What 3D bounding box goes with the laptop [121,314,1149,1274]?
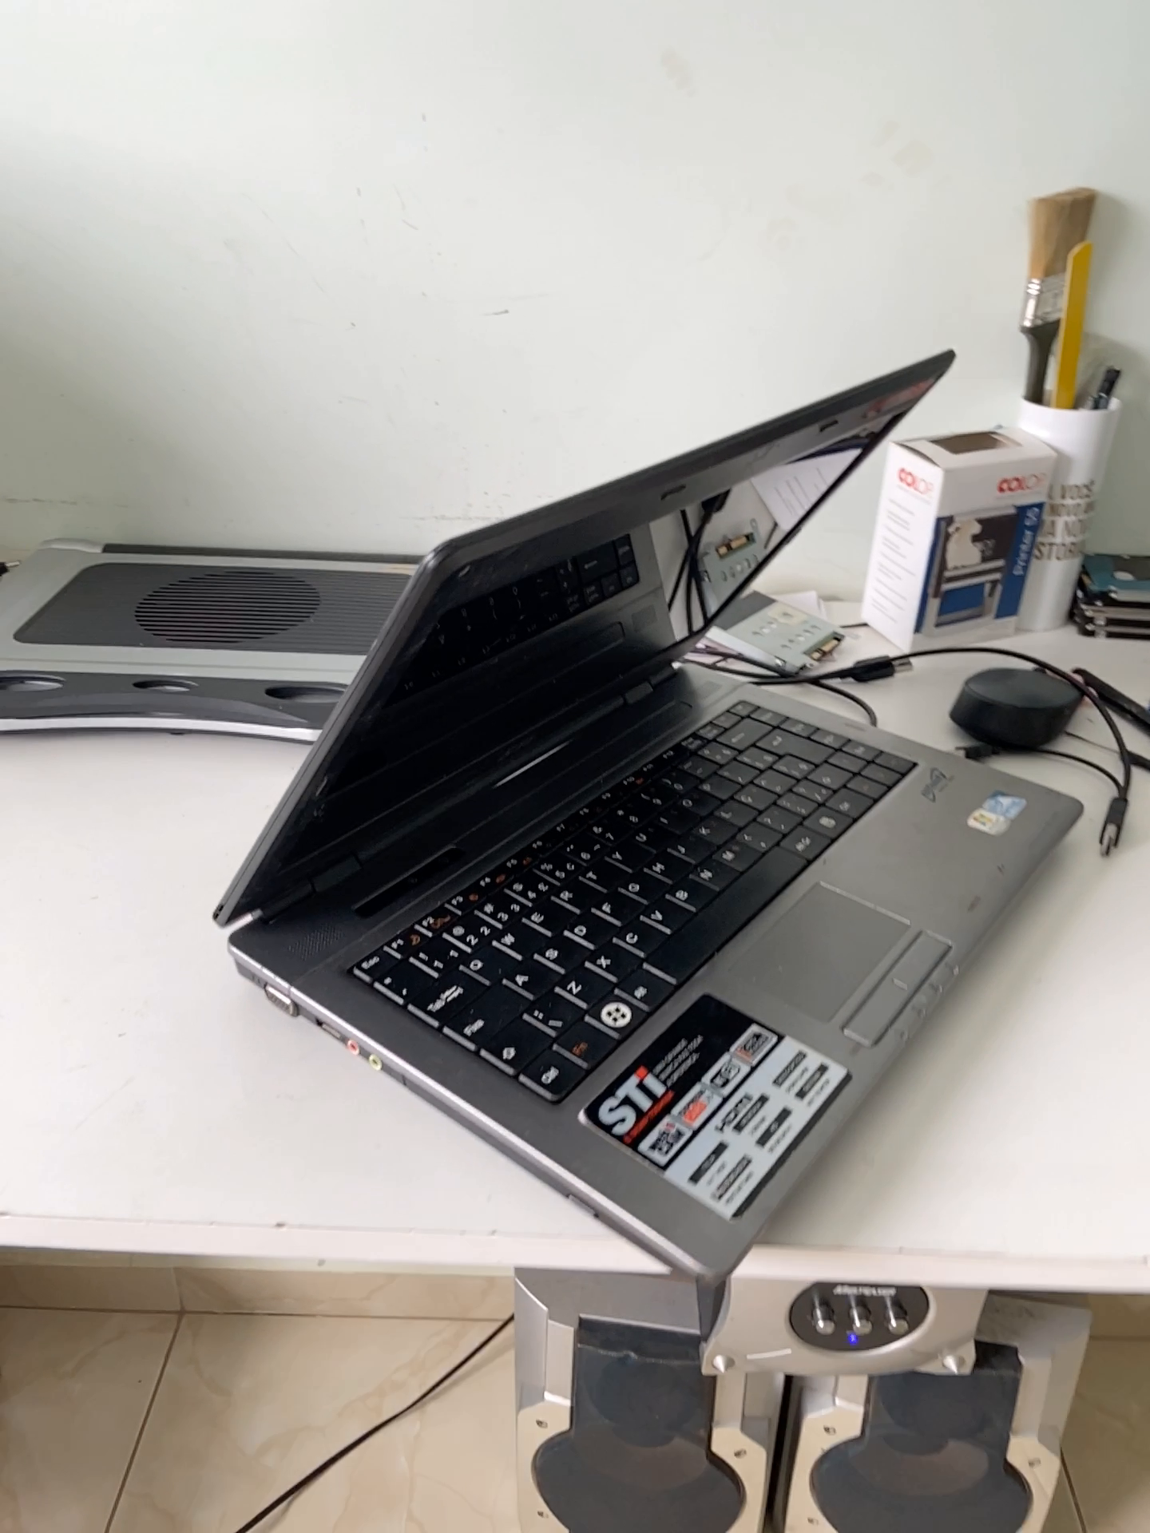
[{"bbox_3d":[0.053,-0.041,0.488,0.241,0.200,0.343,23,37,32],"label":"laptop"}]
